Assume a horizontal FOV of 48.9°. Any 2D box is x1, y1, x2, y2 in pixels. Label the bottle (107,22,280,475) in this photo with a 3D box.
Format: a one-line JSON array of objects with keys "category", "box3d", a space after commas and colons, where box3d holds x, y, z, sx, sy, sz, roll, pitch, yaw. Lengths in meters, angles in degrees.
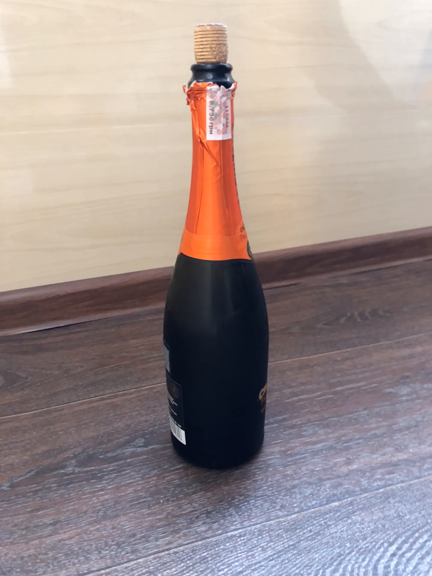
[{"category": "bottle", "box3d": [-0.002, -0.016, 0.377, 0.100, 0.328, 0.093, -2, 22, 1]}]
